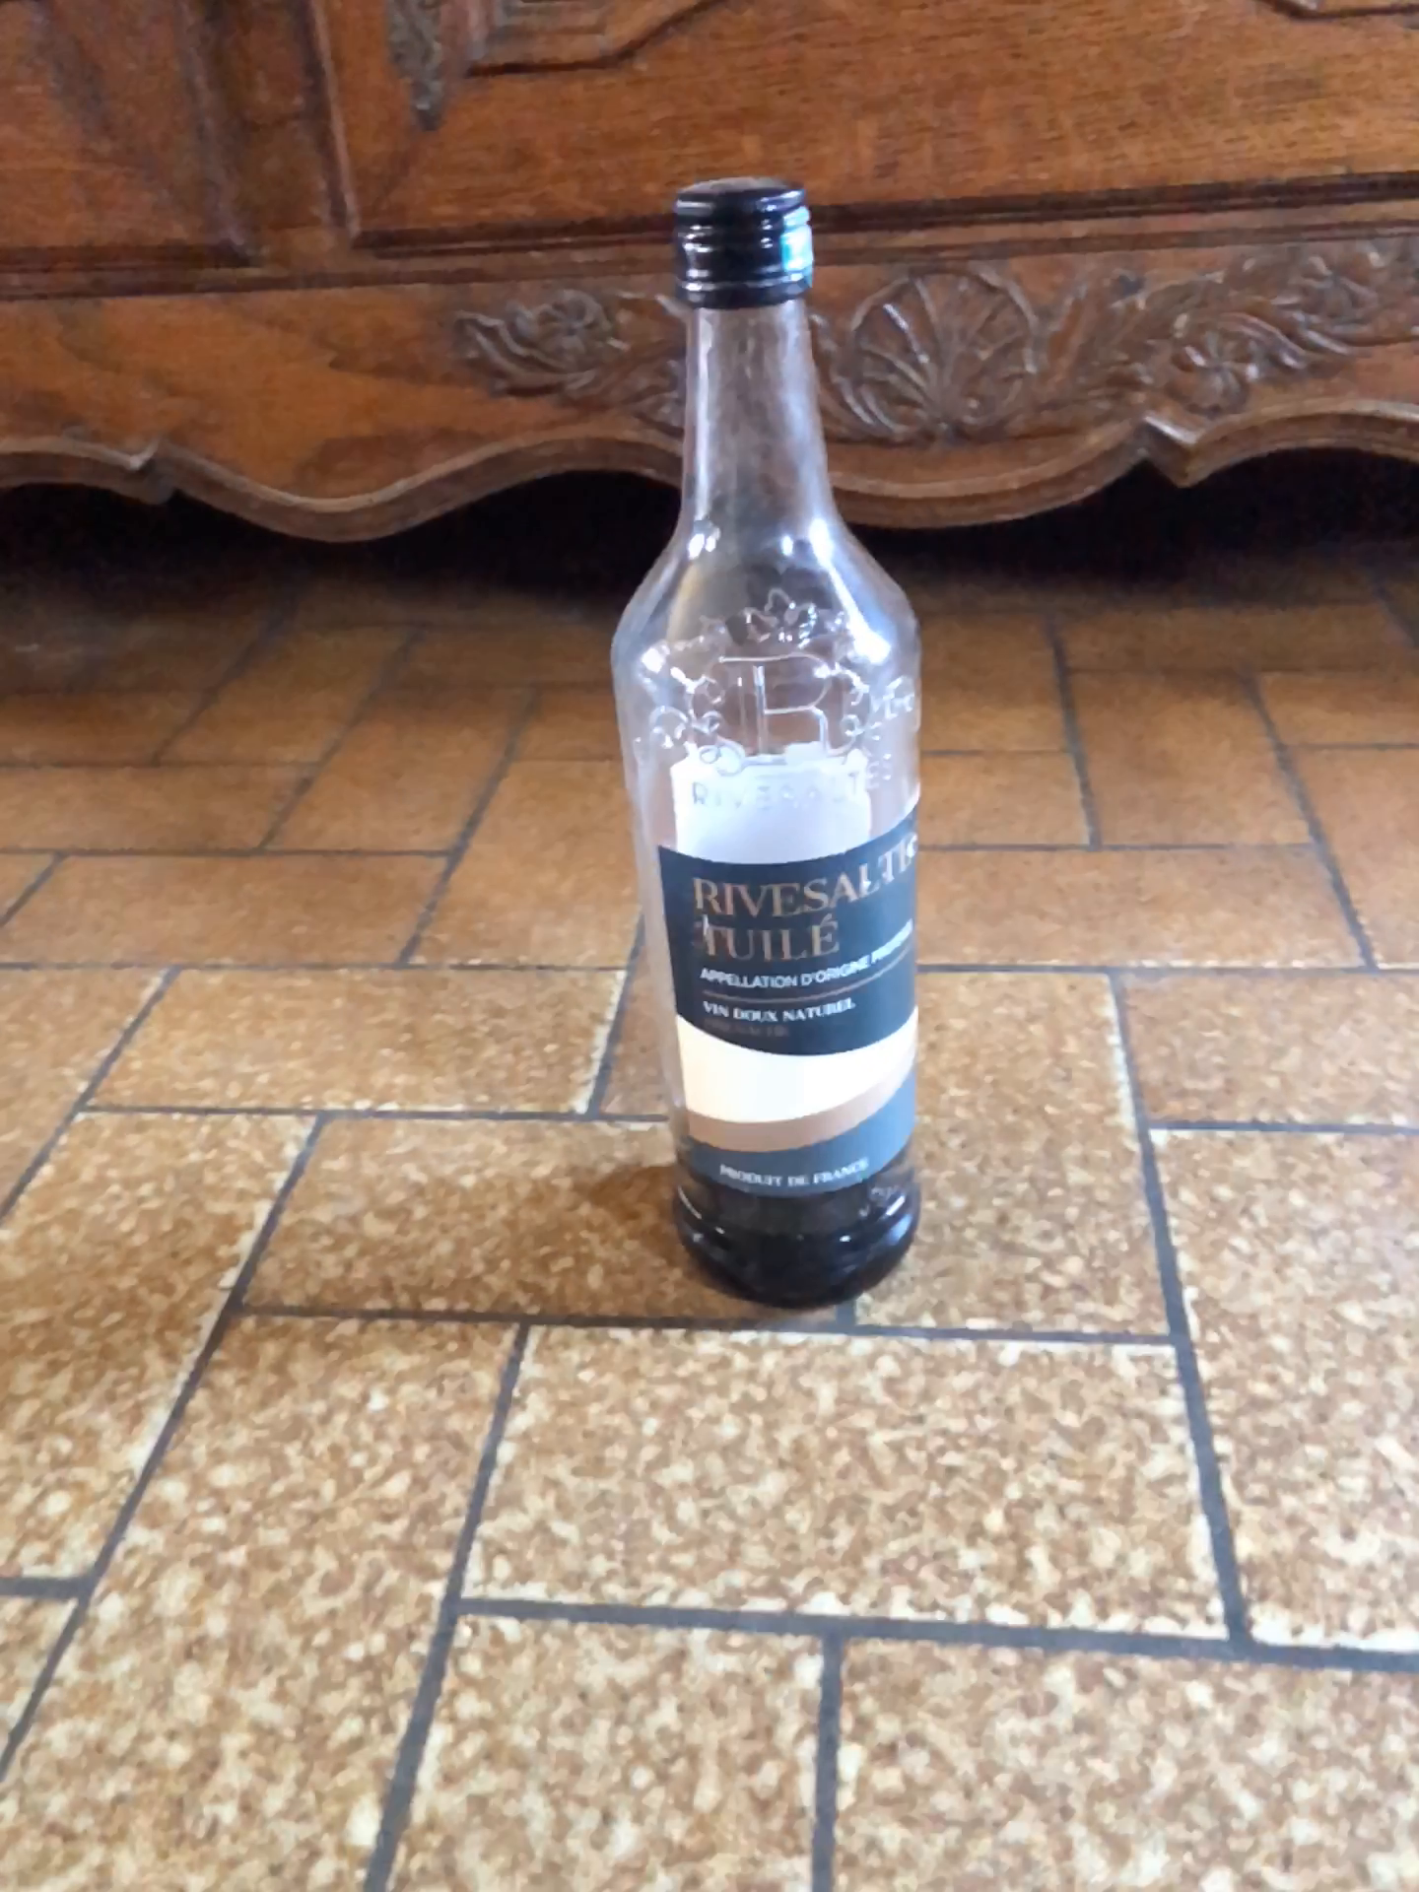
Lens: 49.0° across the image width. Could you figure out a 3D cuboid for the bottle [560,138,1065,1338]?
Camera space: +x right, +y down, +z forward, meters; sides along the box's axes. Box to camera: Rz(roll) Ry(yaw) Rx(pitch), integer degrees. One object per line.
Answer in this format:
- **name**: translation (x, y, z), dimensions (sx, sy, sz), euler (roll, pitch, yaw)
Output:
- **bottle**: translation (0.027, -0.042, 0.419), dimensions (0.090, 0.298, 0.090), euler (-3, 32, 2)
